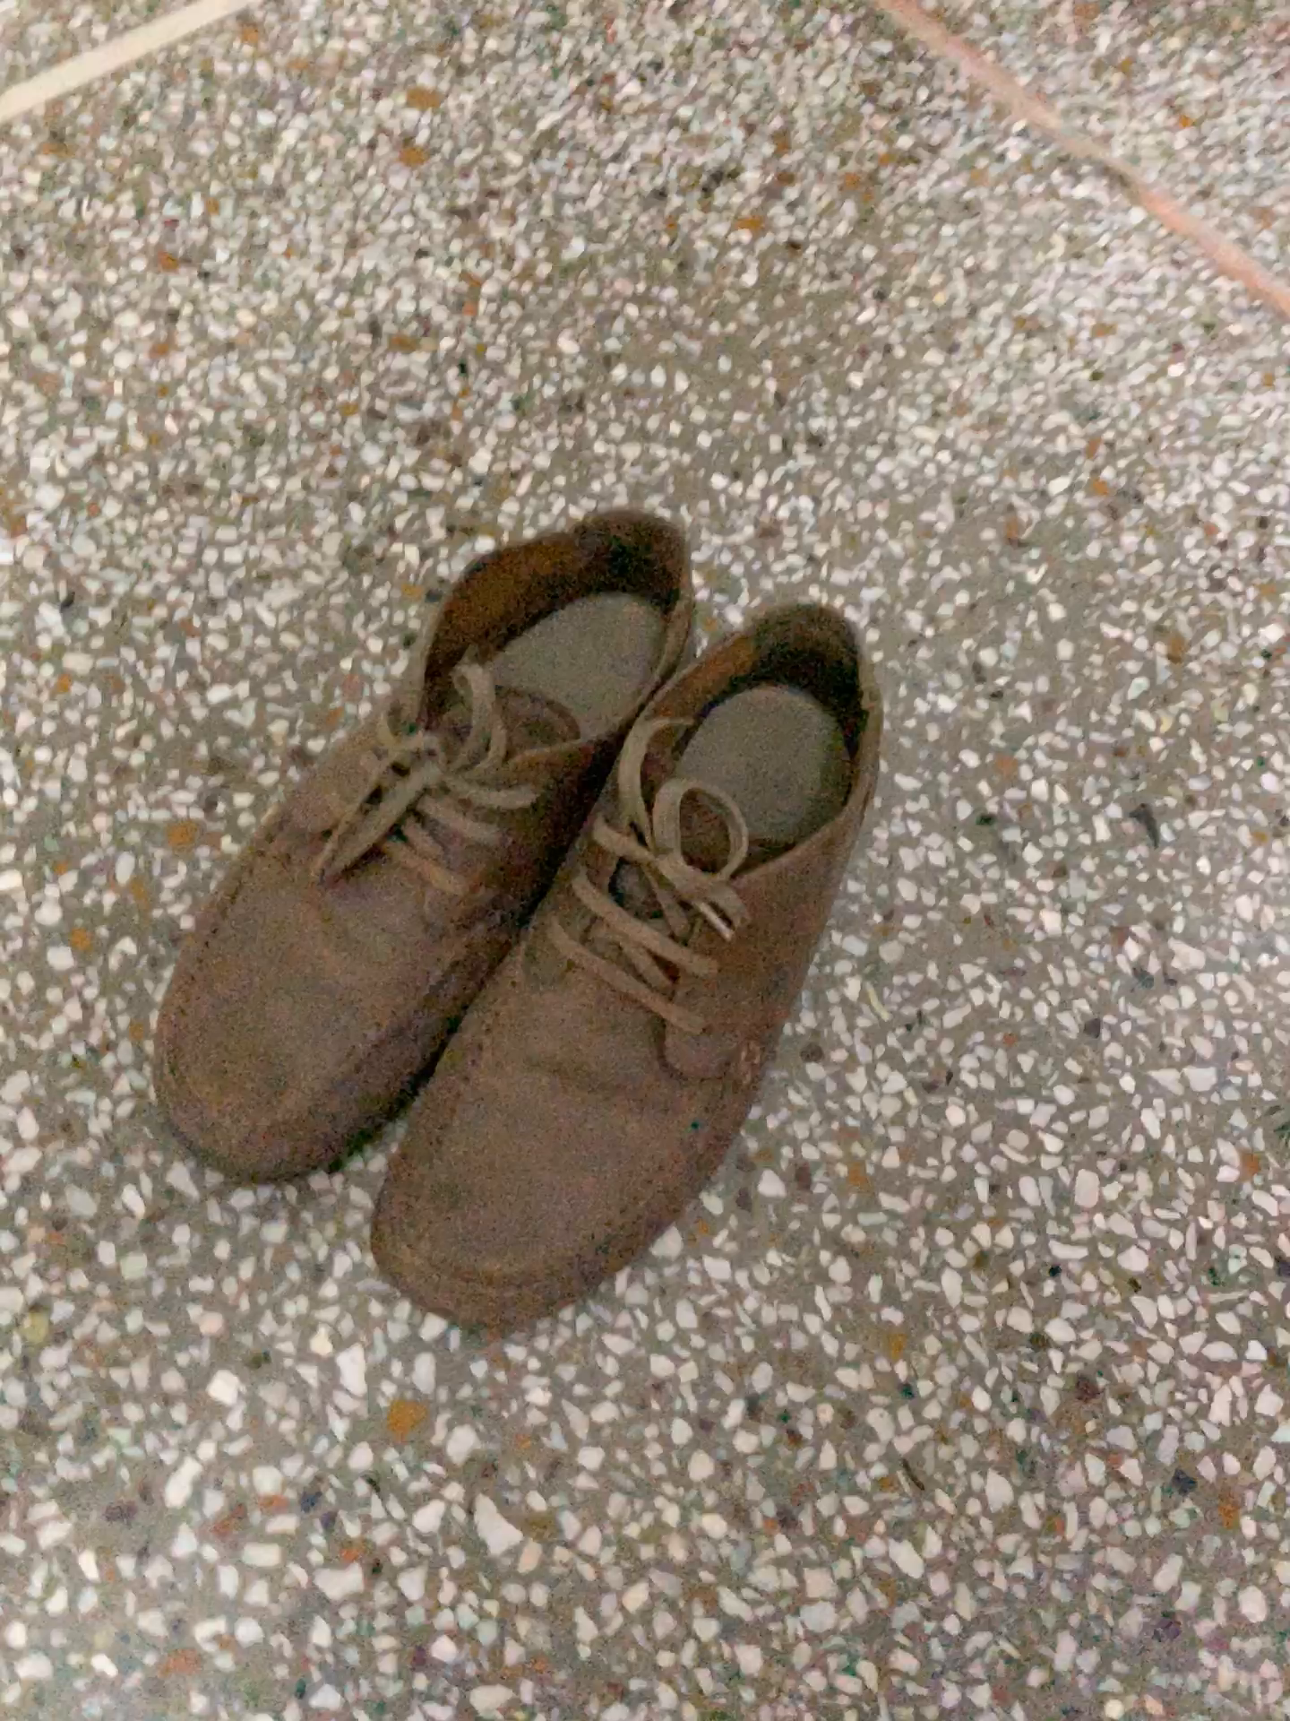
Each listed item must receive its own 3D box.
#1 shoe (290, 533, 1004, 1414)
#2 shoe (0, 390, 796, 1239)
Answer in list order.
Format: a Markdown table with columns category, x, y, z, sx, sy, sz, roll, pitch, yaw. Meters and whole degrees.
| category | x | y | z | sx | sy | sz | roll | pitch | yaw |
| --- | --- | --- | --- | --- | --- | --- | --- | --- | --- |
| shoe | 0.009 | 0.035 | 0.471 | 0.100 | 0.100 | 0.289 | 30 | 67 | 7 |
| shoe | -0.073 | -0.022 | 0.474 | 0.100 | 0.100 | 0.289 | 34 | 67 | 9 |
